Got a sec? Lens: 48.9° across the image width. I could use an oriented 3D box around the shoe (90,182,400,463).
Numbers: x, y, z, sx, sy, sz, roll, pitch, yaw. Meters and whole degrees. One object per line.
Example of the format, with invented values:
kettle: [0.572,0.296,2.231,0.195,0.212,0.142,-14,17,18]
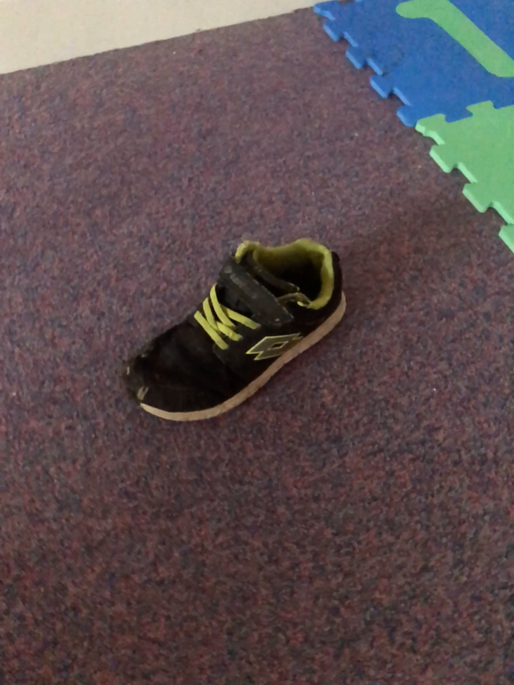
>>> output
shoe: [-0.004,-0.020,0.458,0.221,0.100,0.090,-34,64,-21]
